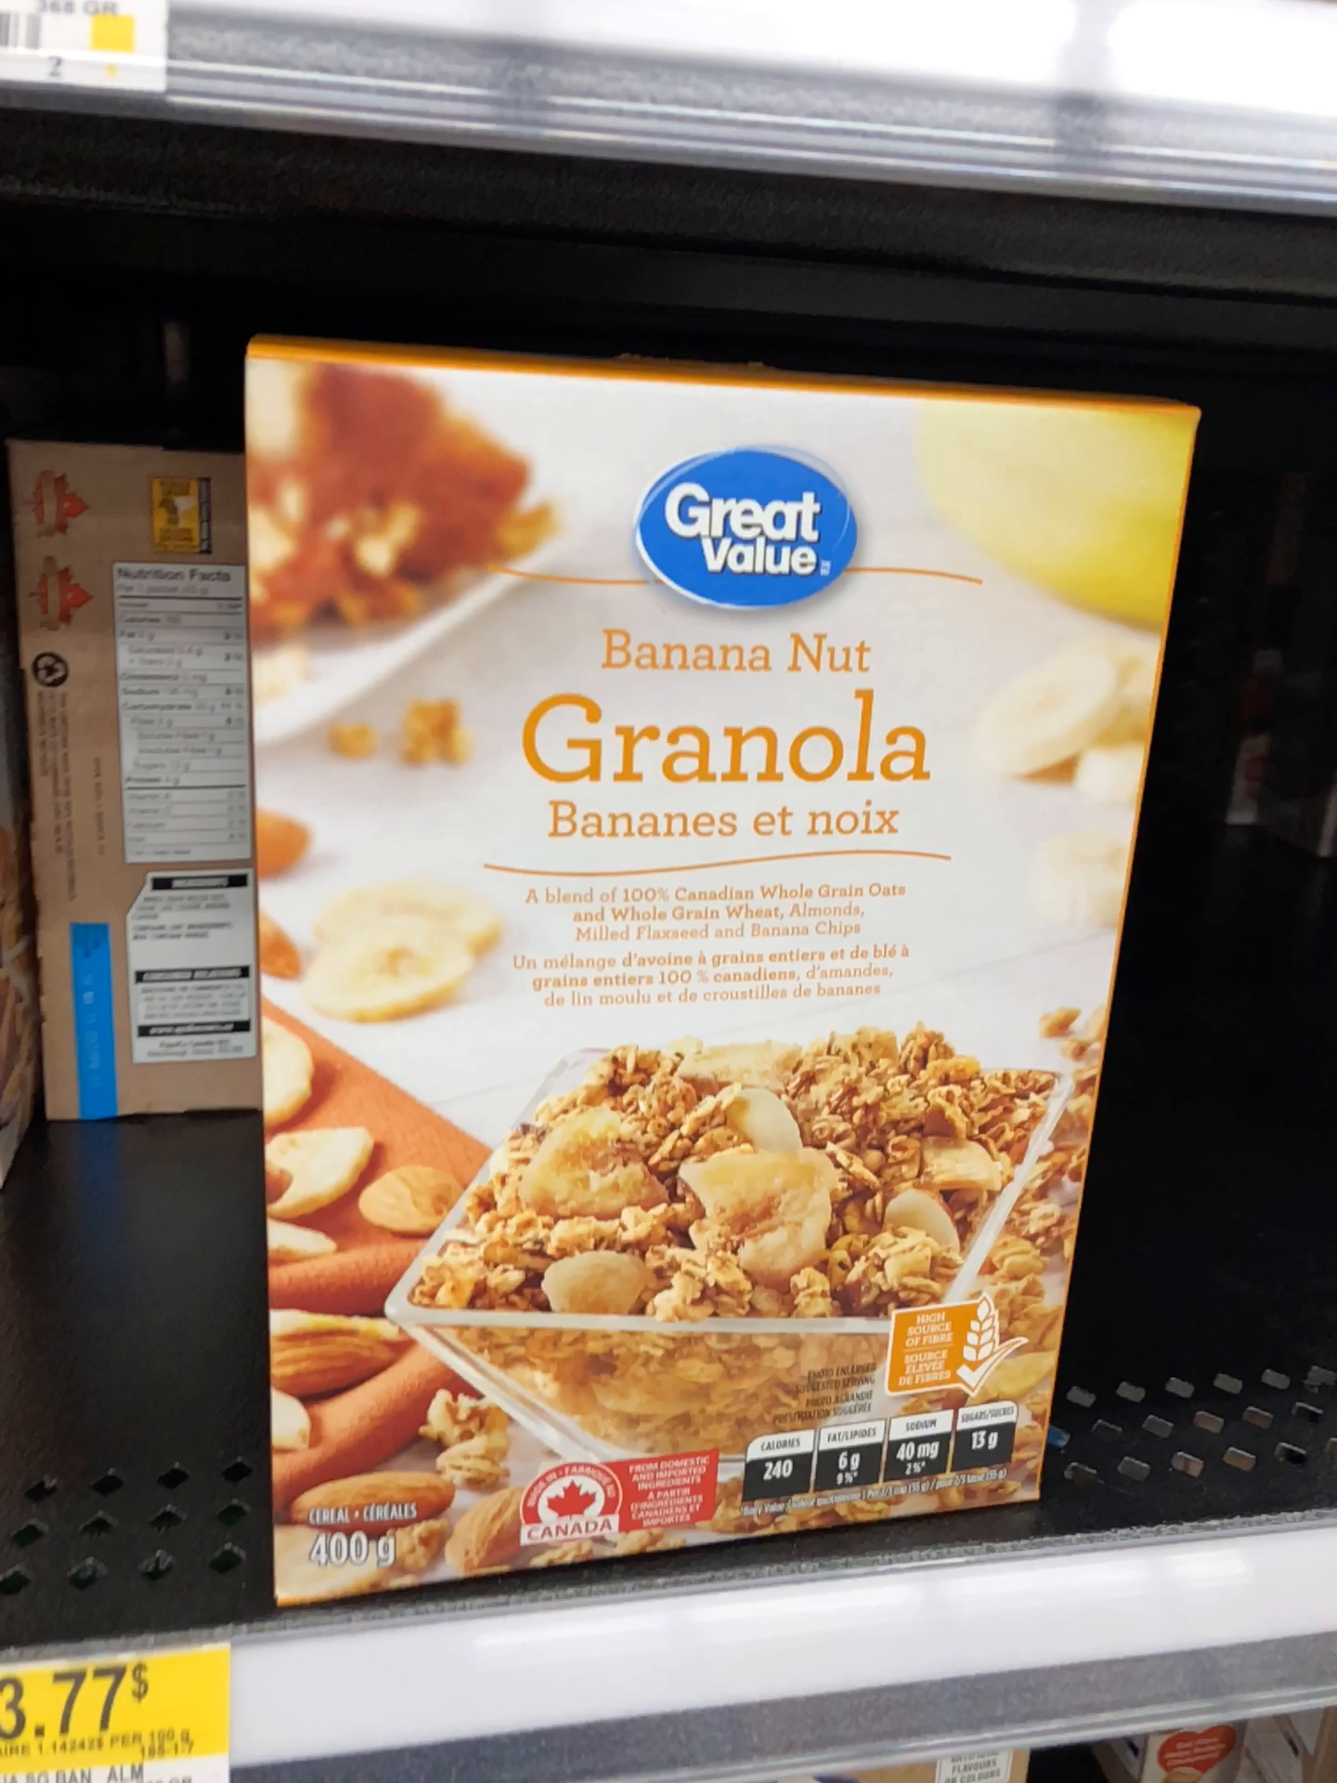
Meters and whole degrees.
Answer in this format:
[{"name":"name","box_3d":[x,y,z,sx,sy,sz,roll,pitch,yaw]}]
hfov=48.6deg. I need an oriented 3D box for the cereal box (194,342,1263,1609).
[{"name":"cereal box","box_3d":[0.004,0.015,0.274,0.160,0.209,0.060,-1,18,-13]}]
